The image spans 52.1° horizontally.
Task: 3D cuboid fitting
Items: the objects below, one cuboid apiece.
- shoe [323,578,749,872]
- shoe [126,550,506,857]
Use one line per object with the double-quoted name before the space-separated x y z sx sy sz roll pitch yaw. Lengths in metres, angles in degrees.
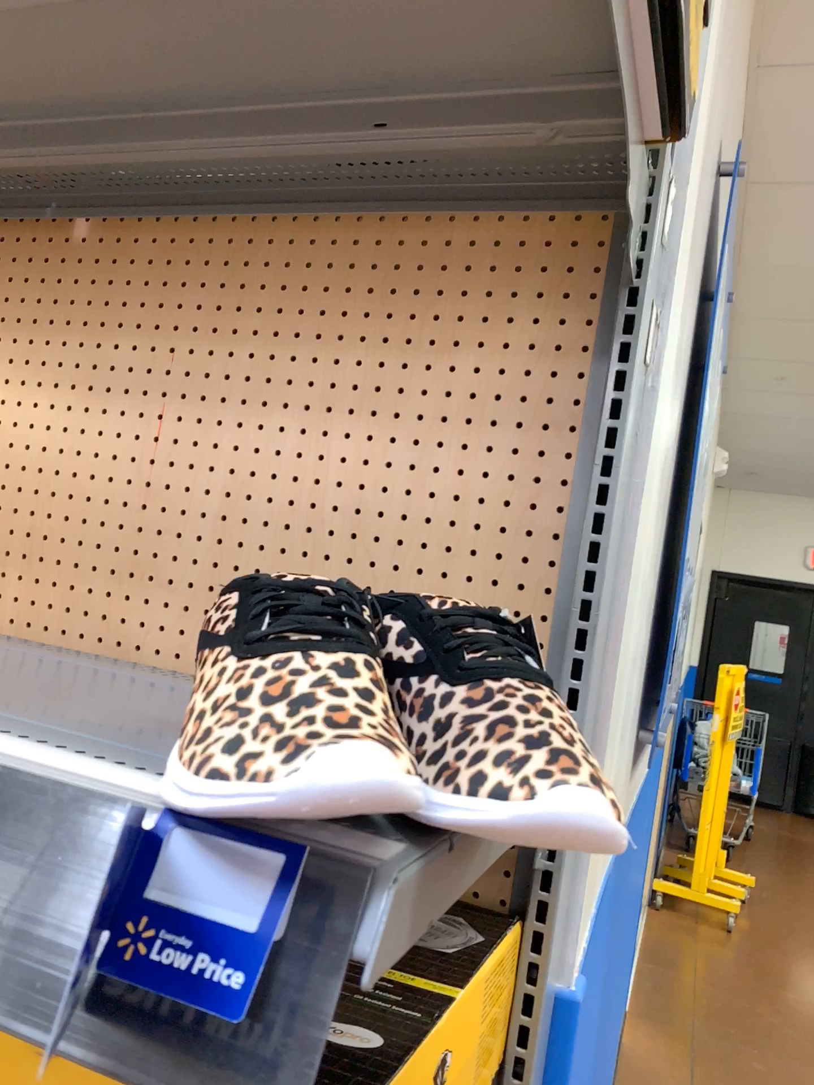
"shoe" 0.044 0.078 0.437 0.110 0.092 0.240 10 -3 -18
"shoe" -0.058 0.059 0.406 0.119 0.092 0.240 10 -3 -14
